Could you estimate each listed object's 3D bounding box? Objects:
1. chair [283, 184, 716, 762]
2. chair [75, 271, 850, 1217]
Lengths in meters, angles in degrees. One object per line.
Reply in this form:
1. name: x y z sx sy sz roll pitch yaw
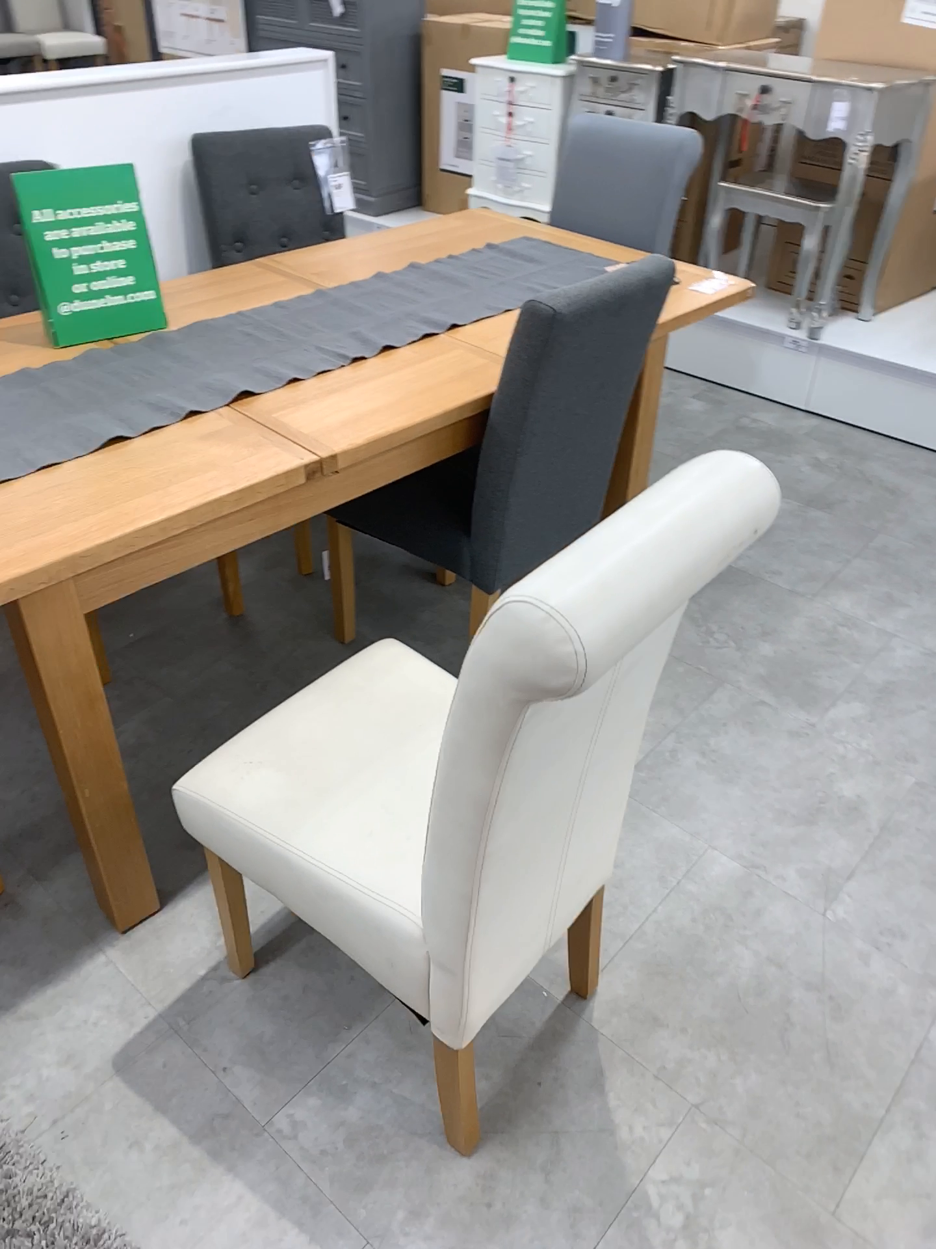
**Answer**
1. chair: 0.044 -0.317 1.930 0.584 0.905 0.485 29 45 32
2. chair: -0.008 0.138 1.239 0.594 0.935 0.516 26 43 30
